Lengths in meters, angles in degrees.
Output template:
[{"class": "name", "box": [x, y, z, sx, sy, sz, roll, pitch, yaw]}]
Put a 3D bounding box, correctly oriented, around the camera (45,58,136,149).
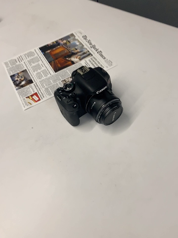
[{"class": "camera", "box": [0.005, -0.041, 0.452, 0.146, 0.100, 0.143, -36, 61, -14]}]
